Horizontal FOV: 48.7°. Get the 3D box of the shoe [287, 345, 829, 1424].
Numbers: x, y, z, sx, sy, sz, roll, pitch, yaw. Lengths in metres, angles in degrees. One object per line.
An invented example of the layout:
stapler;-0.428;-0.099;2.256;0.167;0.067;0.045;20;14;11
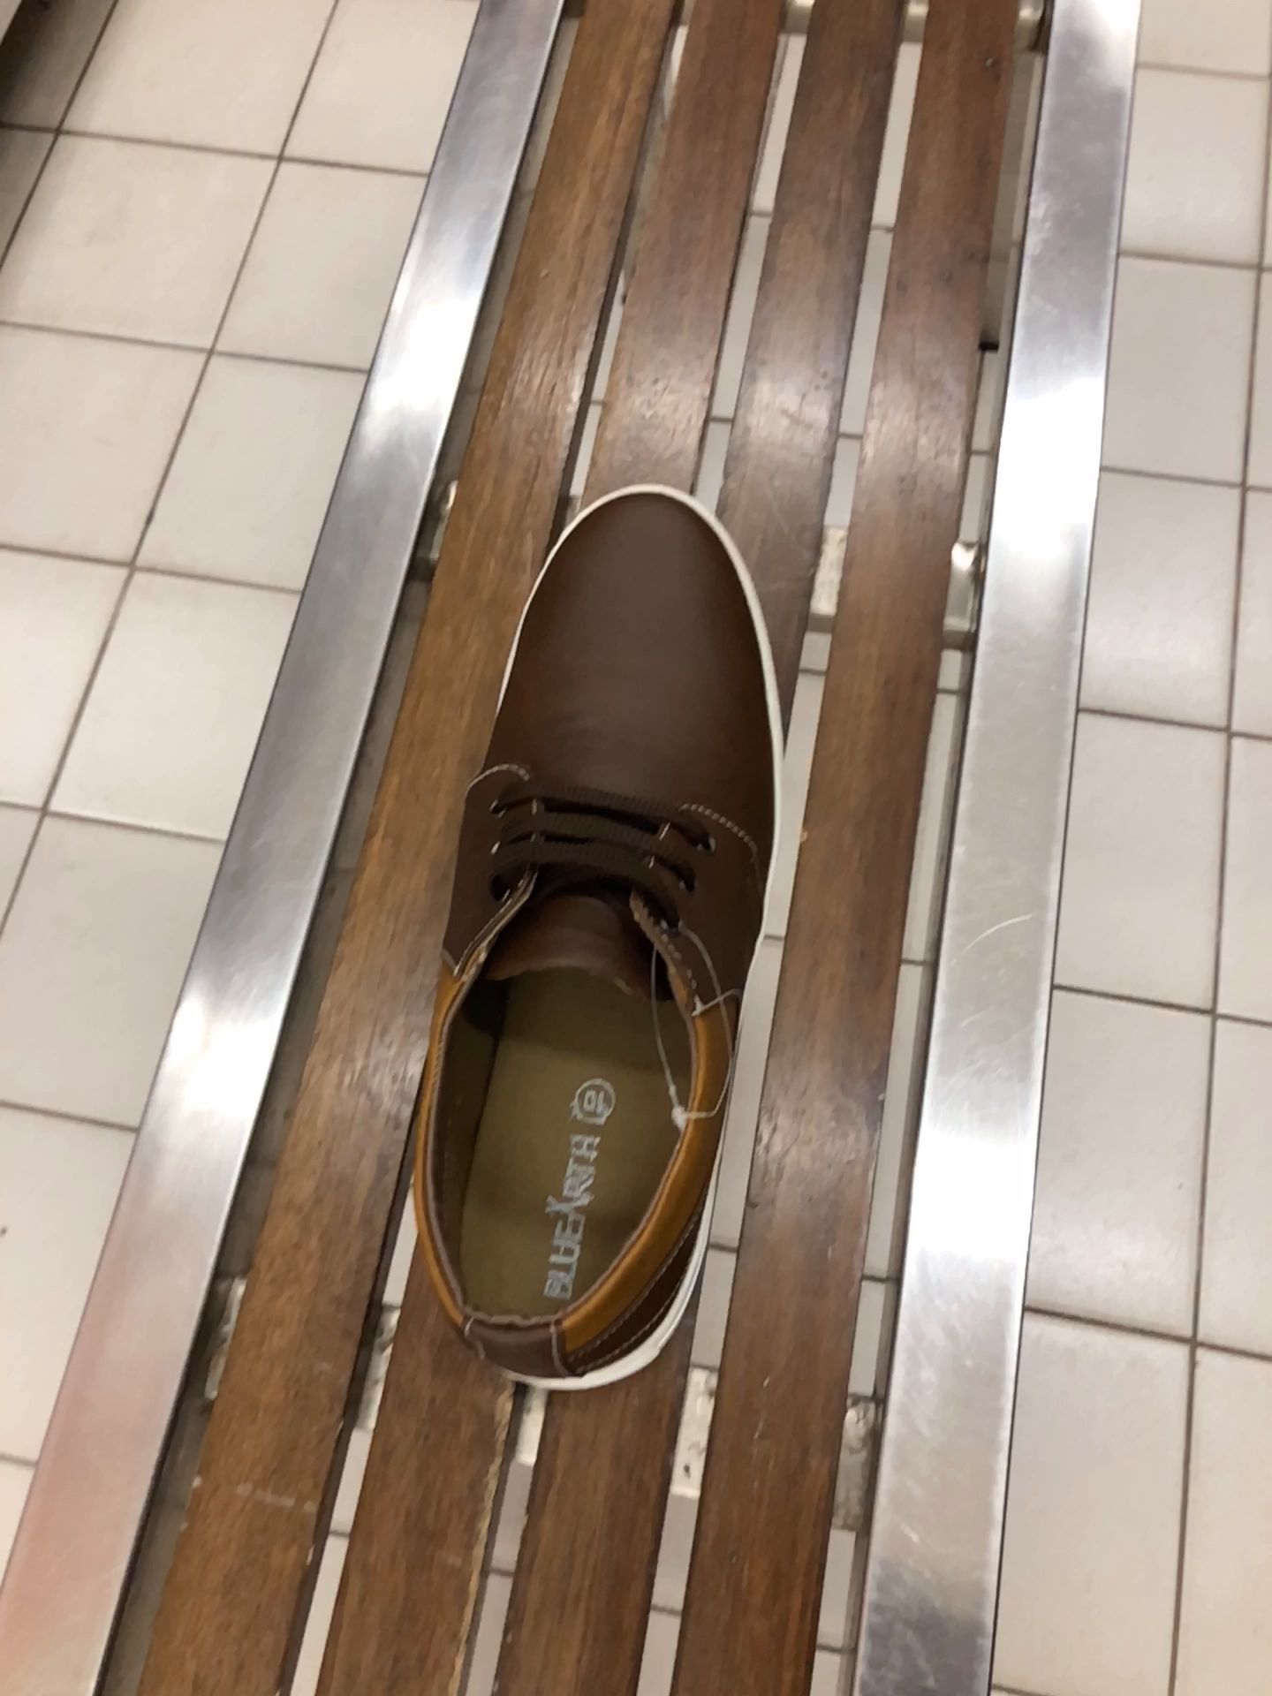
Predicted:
shoe;-0.011;0.002;0.434;0.100;0.080;0.311;7;71;6
